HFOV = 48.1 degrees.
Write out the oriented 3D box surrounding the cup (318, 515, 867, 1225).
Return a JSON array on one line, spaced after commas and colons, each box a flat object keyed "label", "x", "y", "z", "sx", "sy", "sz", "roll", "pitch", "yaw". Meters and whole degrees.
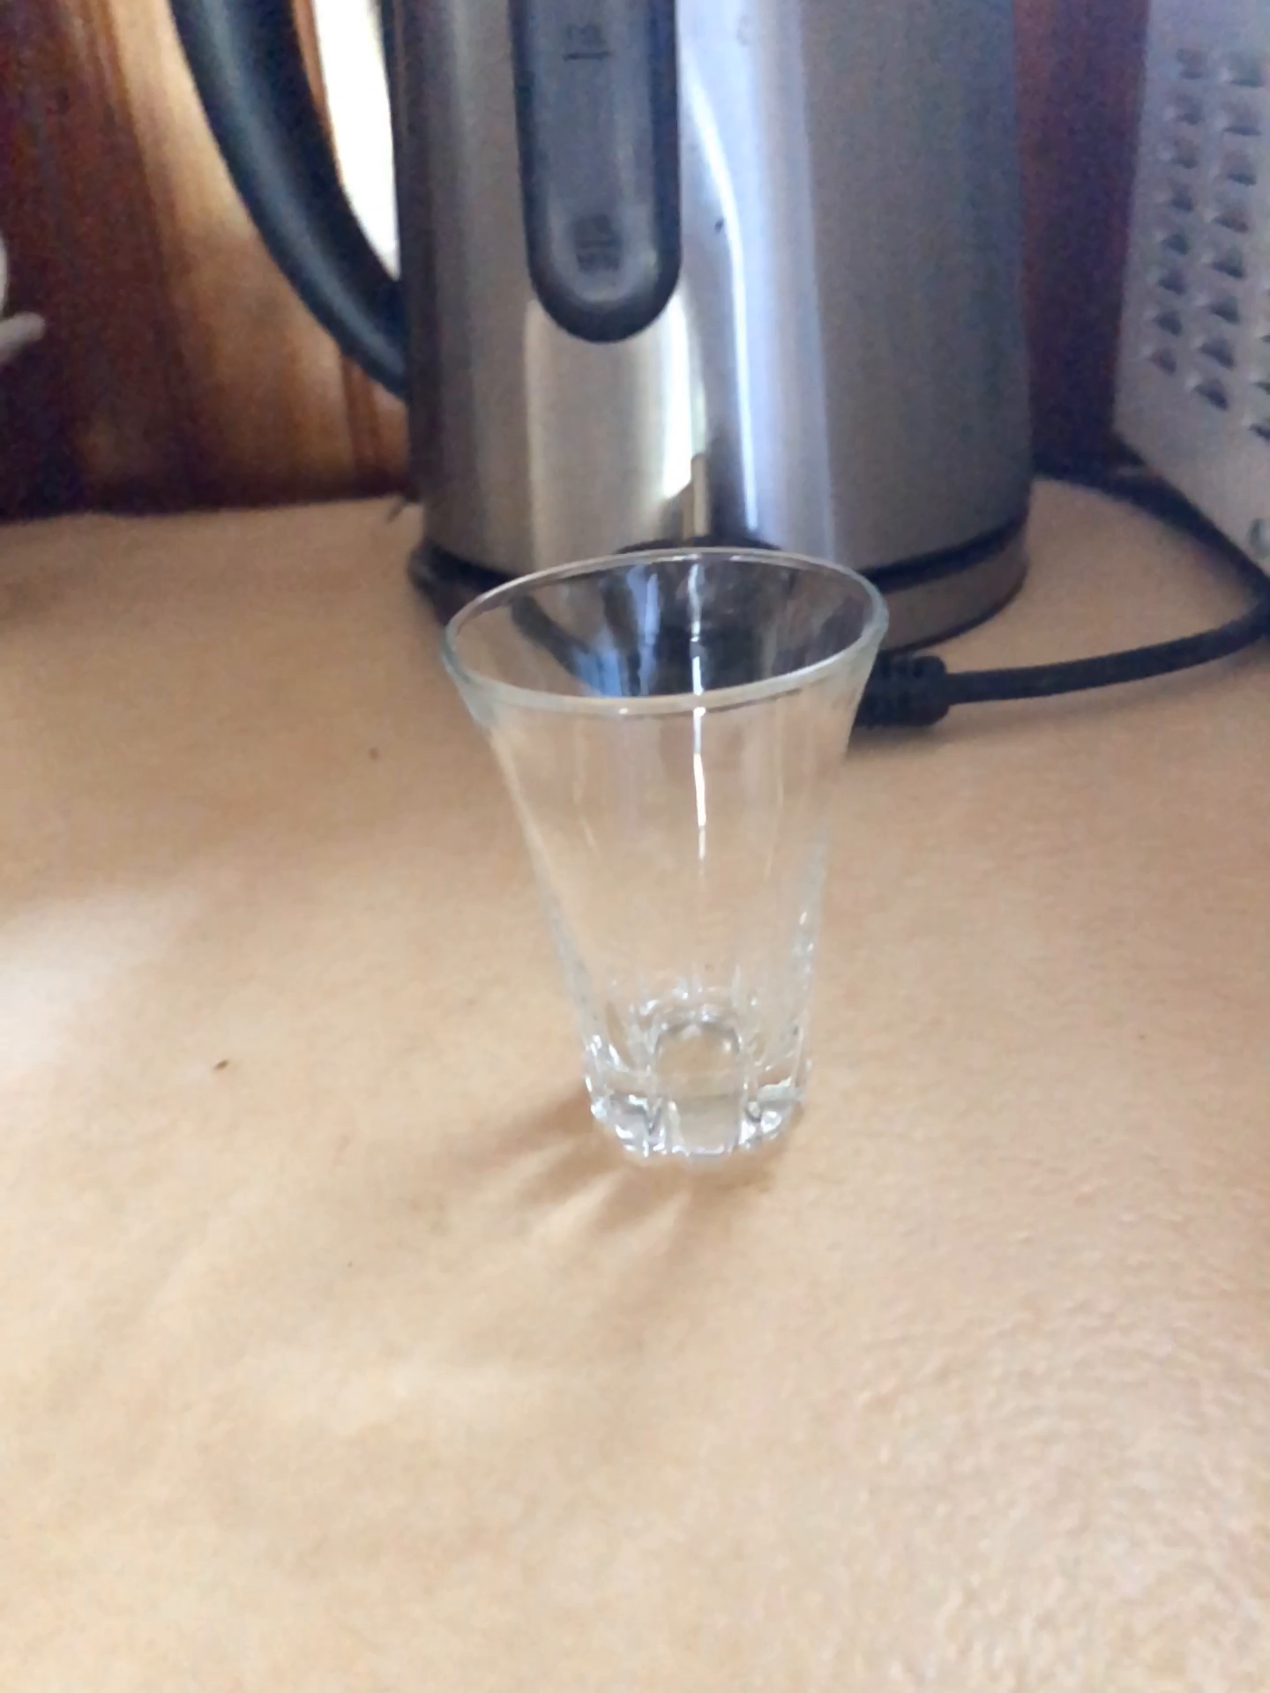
[{"label": "cup", "x": 0.000, "y": 0.000, "z": 0.180, "sx": 0.050, "sy": 0.070, "sz": 0.050, "roll": -4, "pitch": 29, "yaw": 2}]
